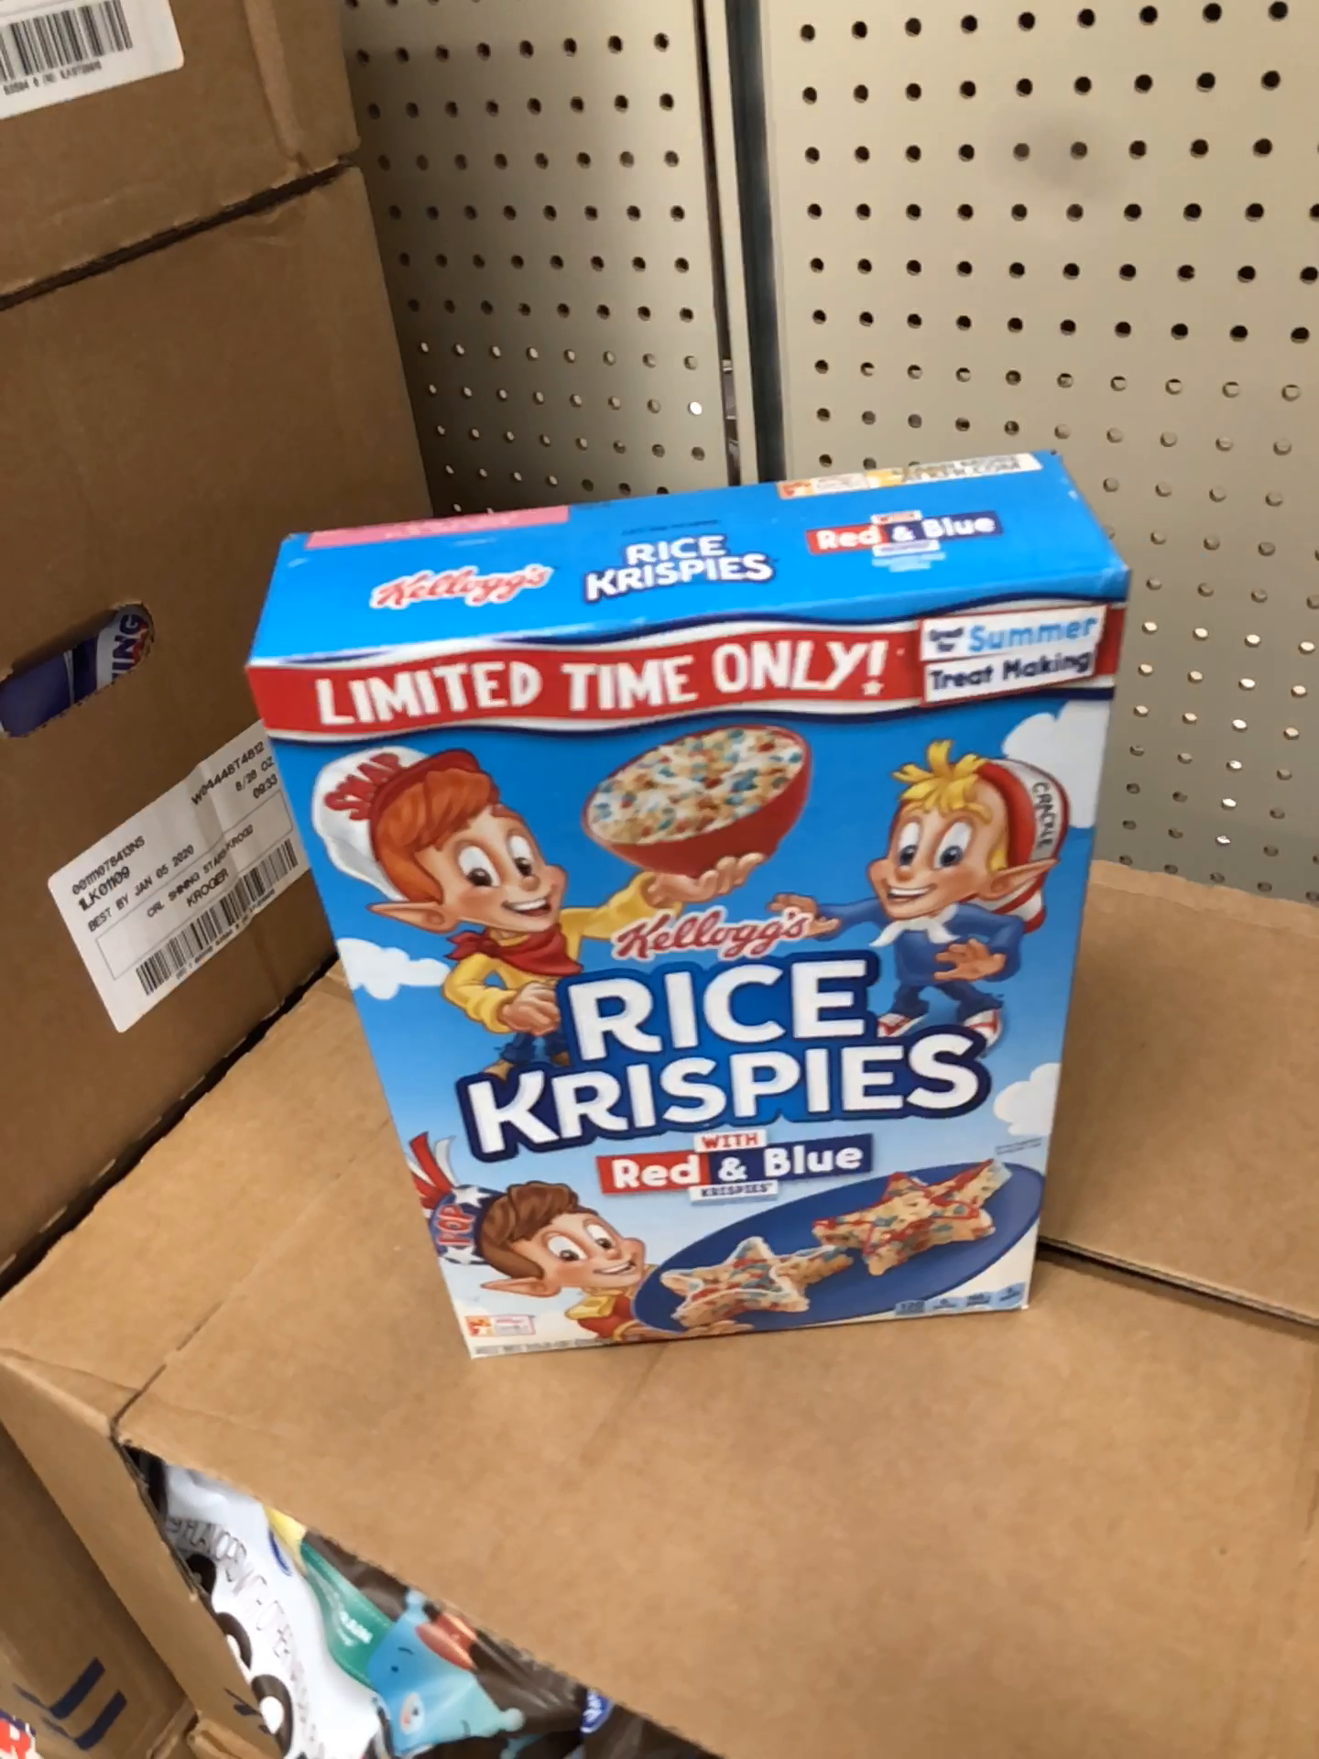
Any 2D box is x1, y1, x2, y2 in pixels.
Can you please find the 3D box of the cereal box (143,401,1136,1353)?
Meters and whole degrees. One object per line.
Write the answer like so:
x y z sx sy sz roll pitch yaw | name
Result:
0.008 0.024 0.406 0.200 0.279 0.060 -6 42 2 | cereal box
